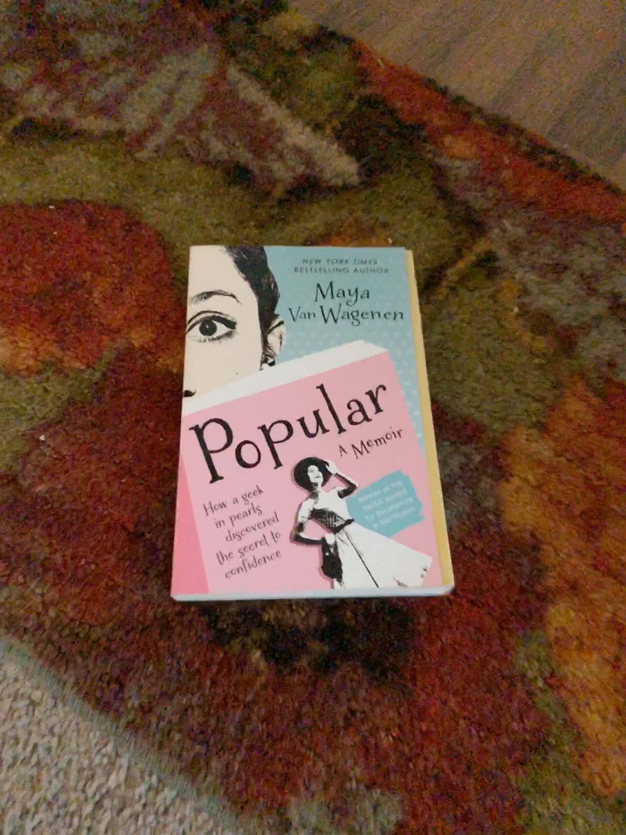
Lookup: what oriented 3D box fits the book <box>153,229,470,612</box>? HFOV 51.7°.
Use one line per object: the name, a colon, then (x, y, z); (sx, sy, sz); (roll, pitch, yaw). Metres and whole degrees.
book: (-0.005, -0.009, 0.365); (0.150, 0.030, 0.220); (-1, 65, -4)
